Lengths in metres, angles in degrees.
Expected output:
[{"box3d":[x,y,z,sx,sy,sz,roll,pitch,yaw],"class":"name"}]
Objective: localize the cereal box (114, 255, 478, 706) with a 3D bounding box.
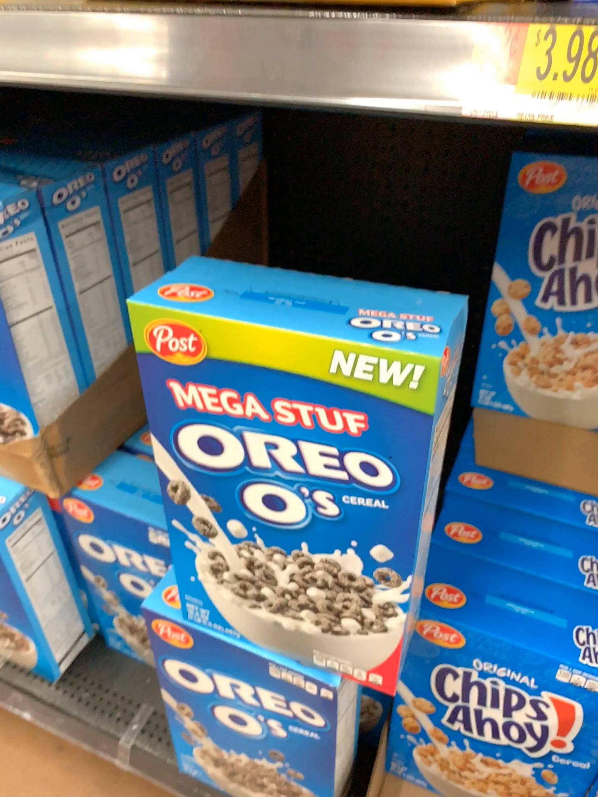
[{"box3d":[-0.002,0.067,0.448,0.200,0.299,0.080,12,35,17],"class":"cereal box"}]
